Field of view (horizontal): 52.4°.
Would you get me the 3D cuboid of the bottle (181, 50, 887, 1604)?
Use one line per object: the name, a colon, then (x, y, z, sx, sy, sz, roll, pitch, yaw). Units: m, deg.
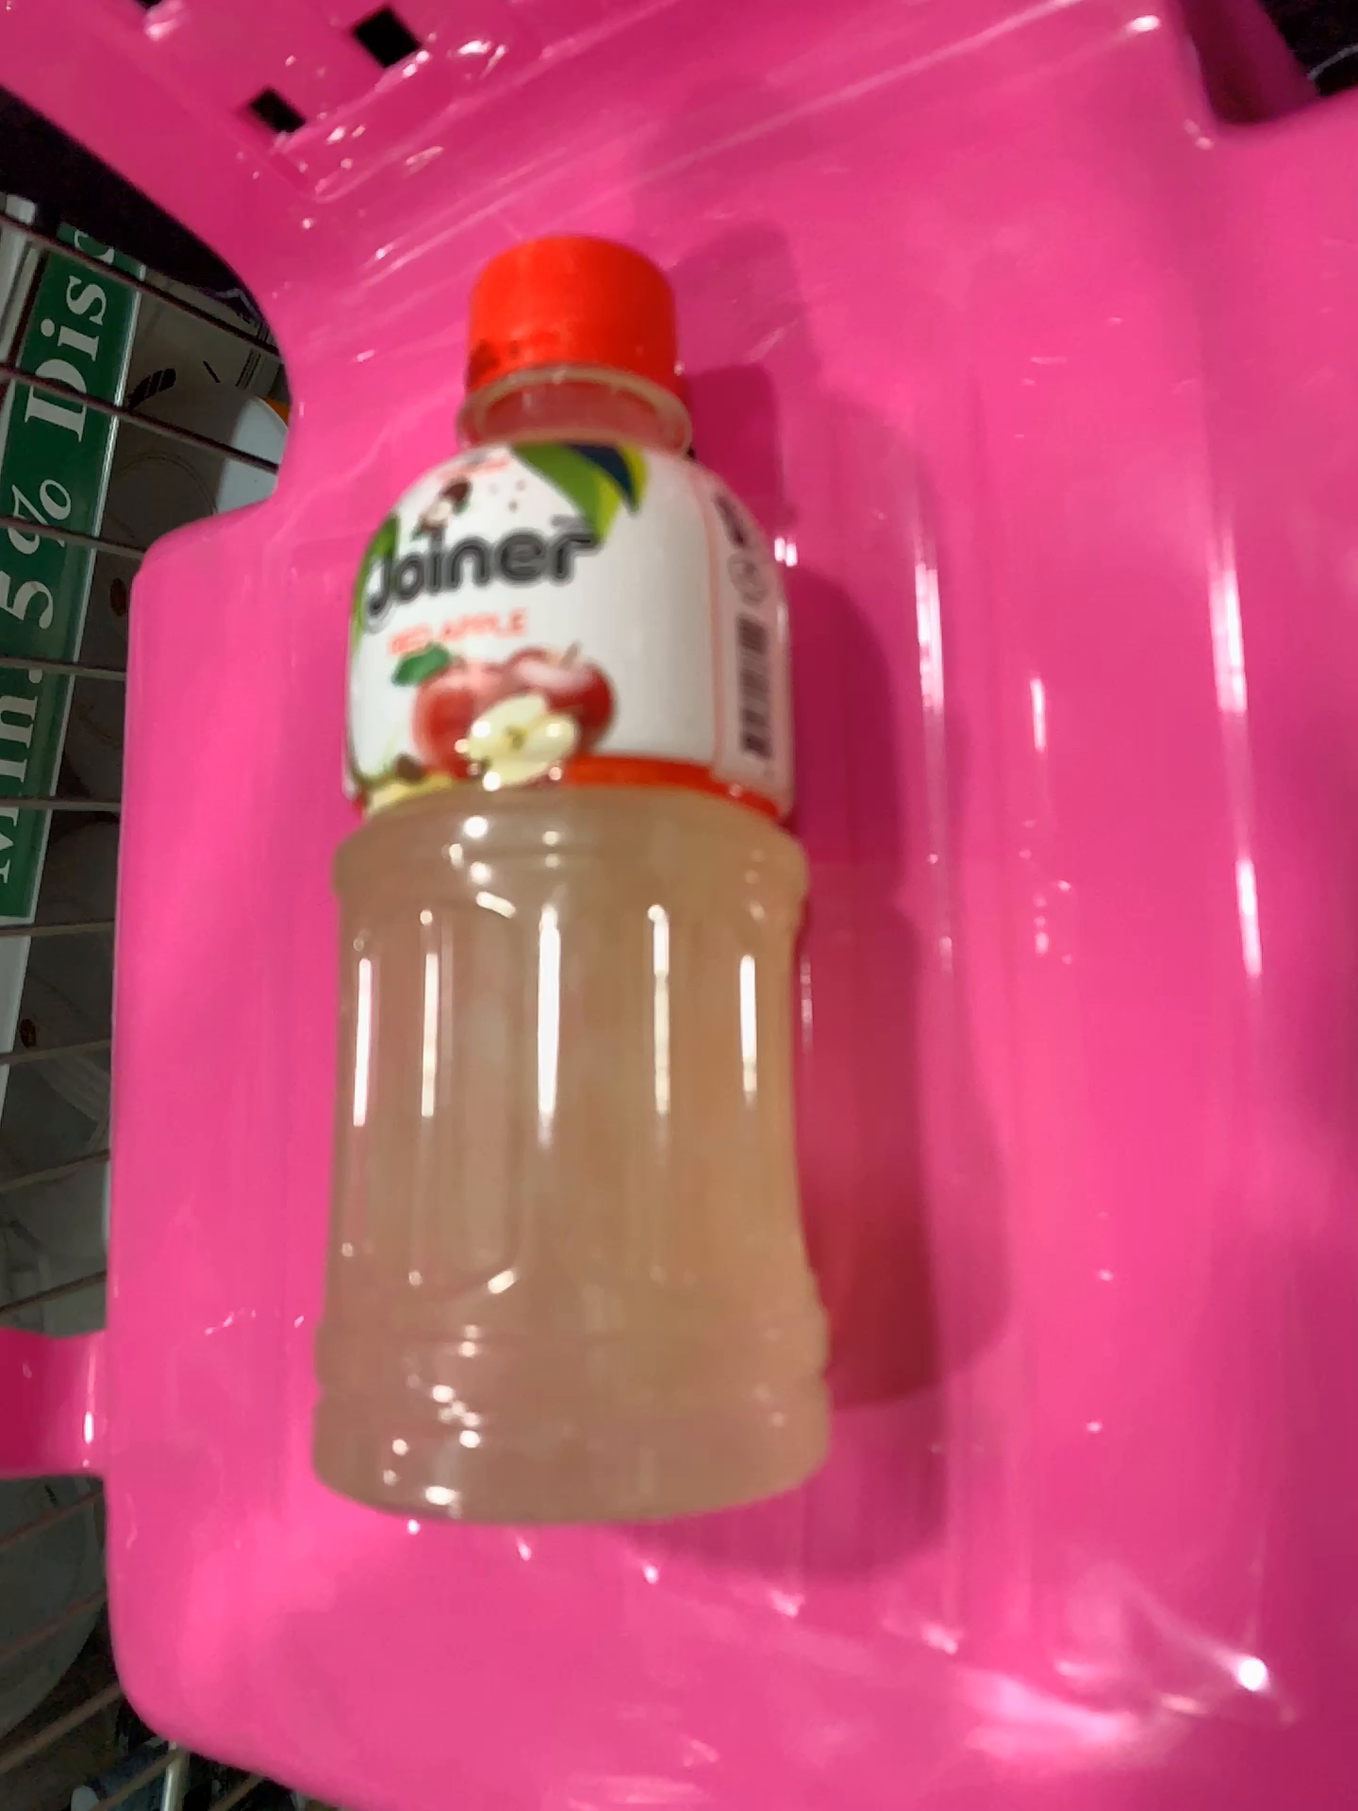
bottle: (-0.021, -0.008, 0.179, 0.070, 0.050, 0.160, -7, 81, 32)
